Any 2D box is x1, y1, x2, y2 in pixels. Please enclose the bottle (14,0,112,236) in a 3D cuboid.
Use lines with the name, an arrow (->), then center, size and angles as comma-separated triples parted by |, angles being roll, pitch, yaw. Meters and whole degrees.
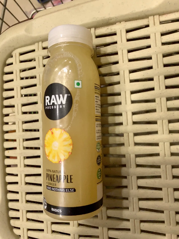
bottle -> -0.018, -0.006, 0.153 | 0.060, 0.050, 0.160 | -2, 85, 17
